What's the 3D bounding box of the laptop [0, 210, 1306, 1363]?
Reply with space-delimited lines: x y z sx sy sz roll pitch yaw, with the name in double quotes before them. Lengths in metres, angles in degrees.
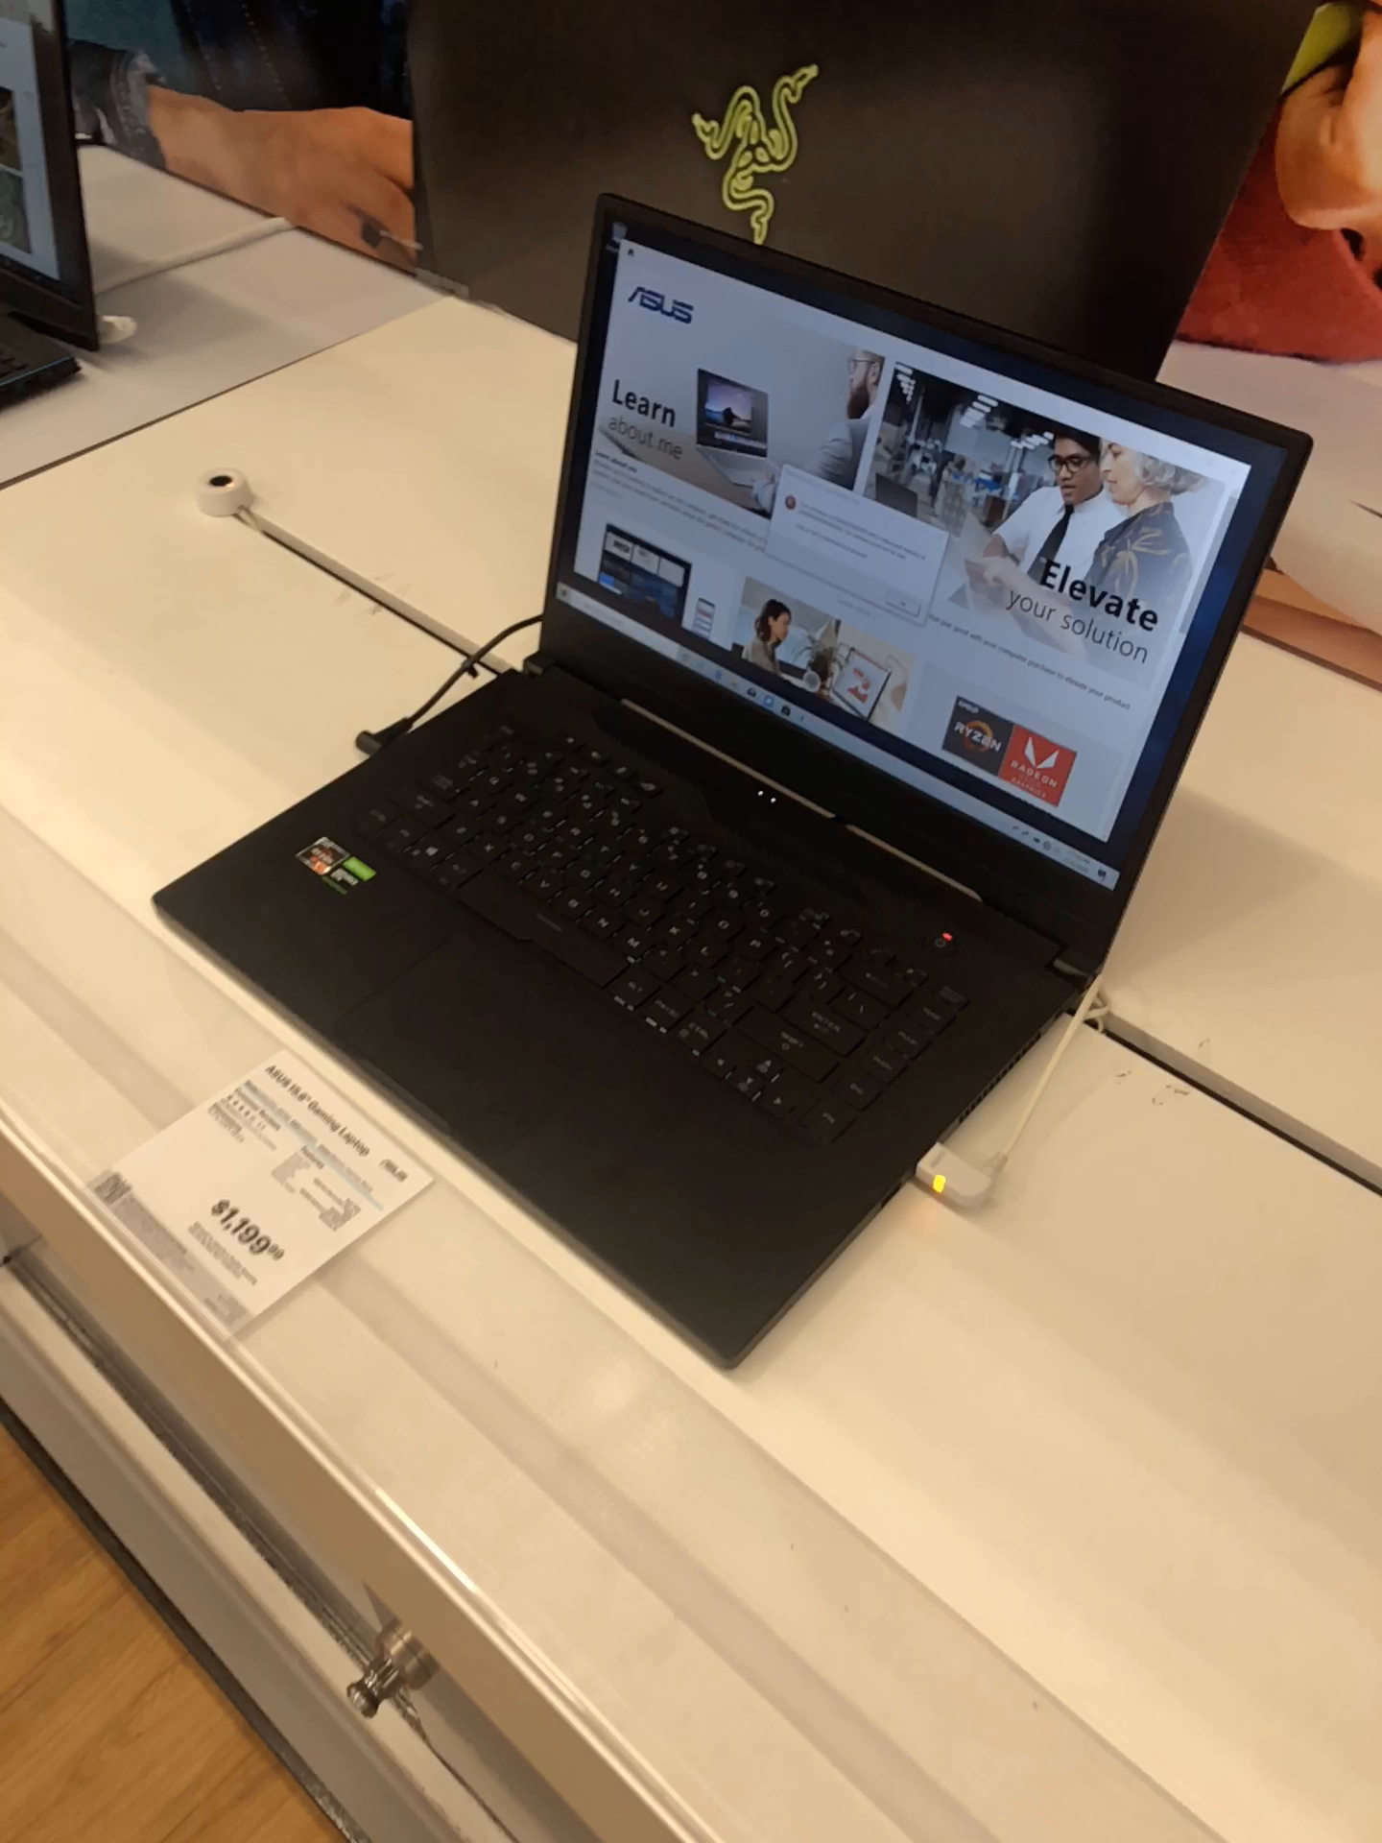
"laptop" -0.016 -0.087 0.614 0.351 0.222 0.310 32 54 28
